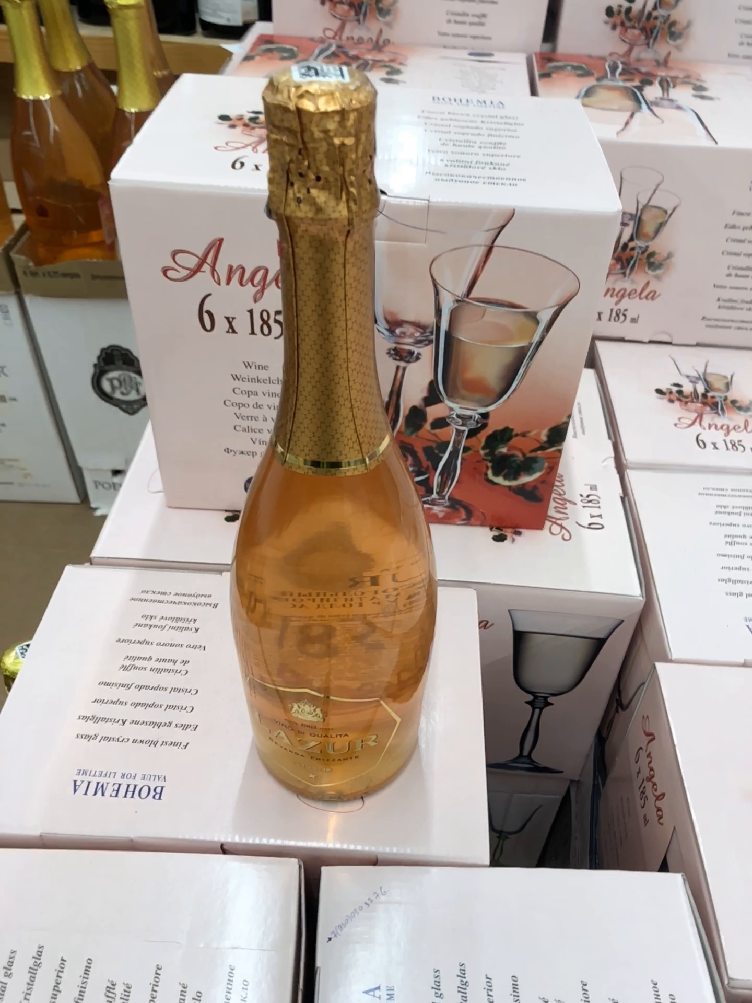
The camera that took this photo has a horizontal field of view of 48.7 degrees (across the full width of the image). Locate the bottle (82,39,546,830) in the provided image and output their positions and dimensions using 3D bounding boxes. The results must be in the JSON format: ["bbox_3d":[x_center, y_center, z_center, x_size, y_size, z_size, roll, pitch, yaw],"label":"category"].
[{"bbox_3d":[-0.015,0.003,0.323,0.100,0.298,0.090,12,44,10],"label":"bottle"}]
